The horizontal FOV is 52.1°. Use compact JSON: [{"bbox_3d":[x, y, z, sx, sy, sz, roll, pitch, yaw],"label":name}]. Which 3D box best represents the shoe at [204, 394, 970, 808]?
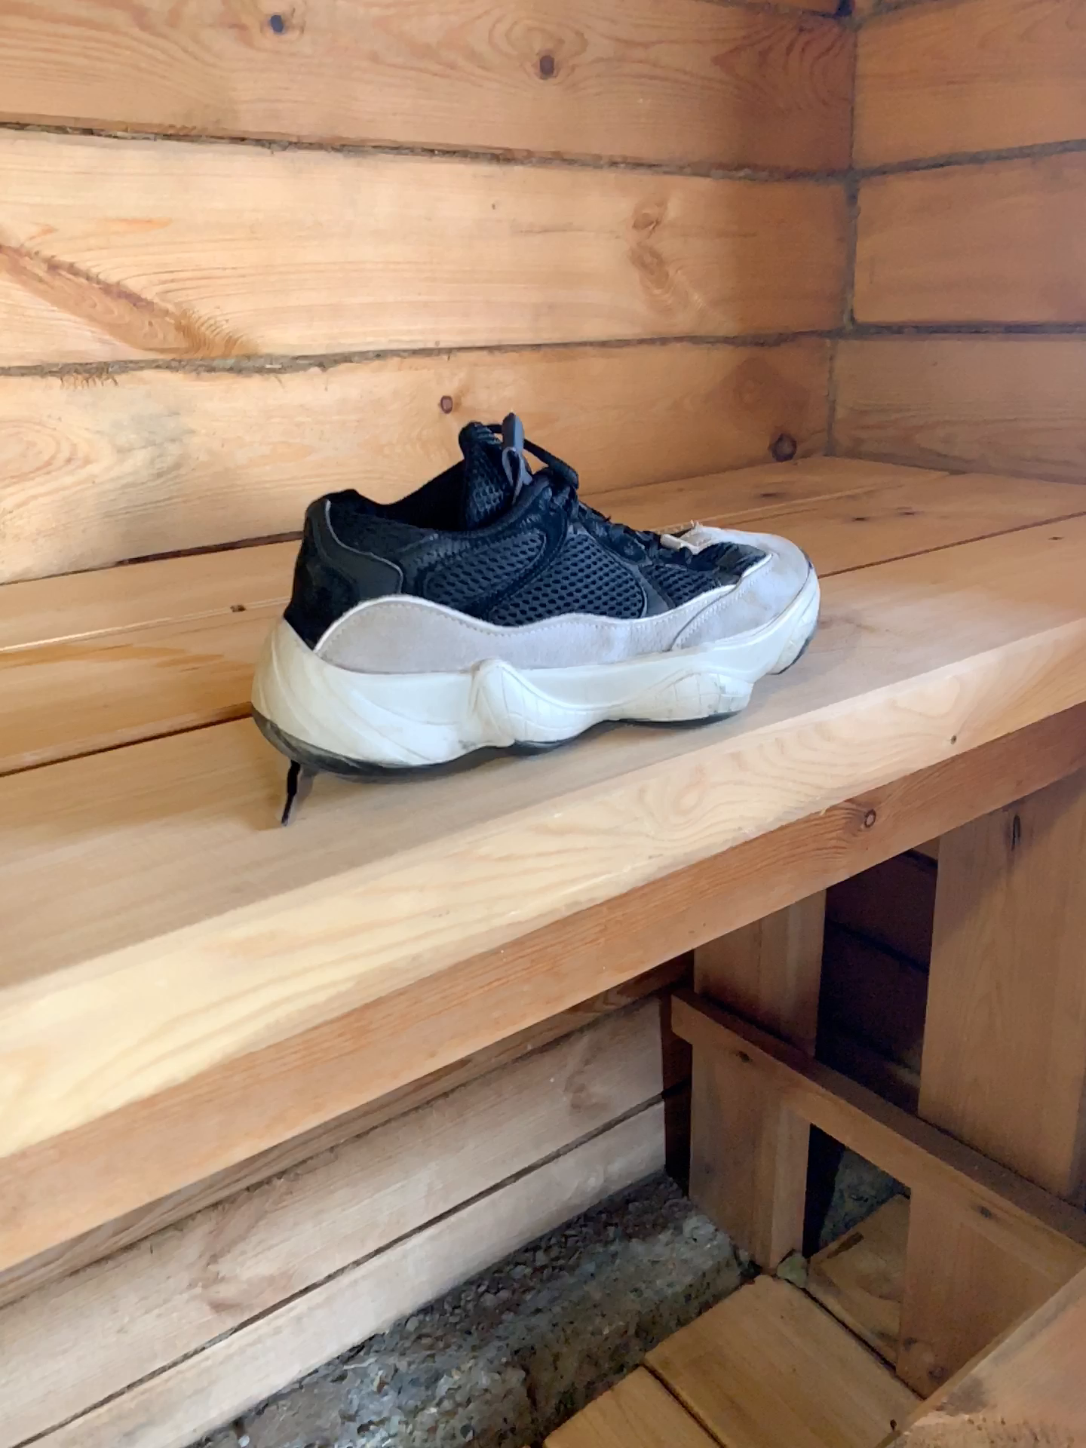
[{"bbox_3d":[0.020,-0.066,0.445,0.270,0.109,0.121,-11,21,-25],"label":"shoe"}]
